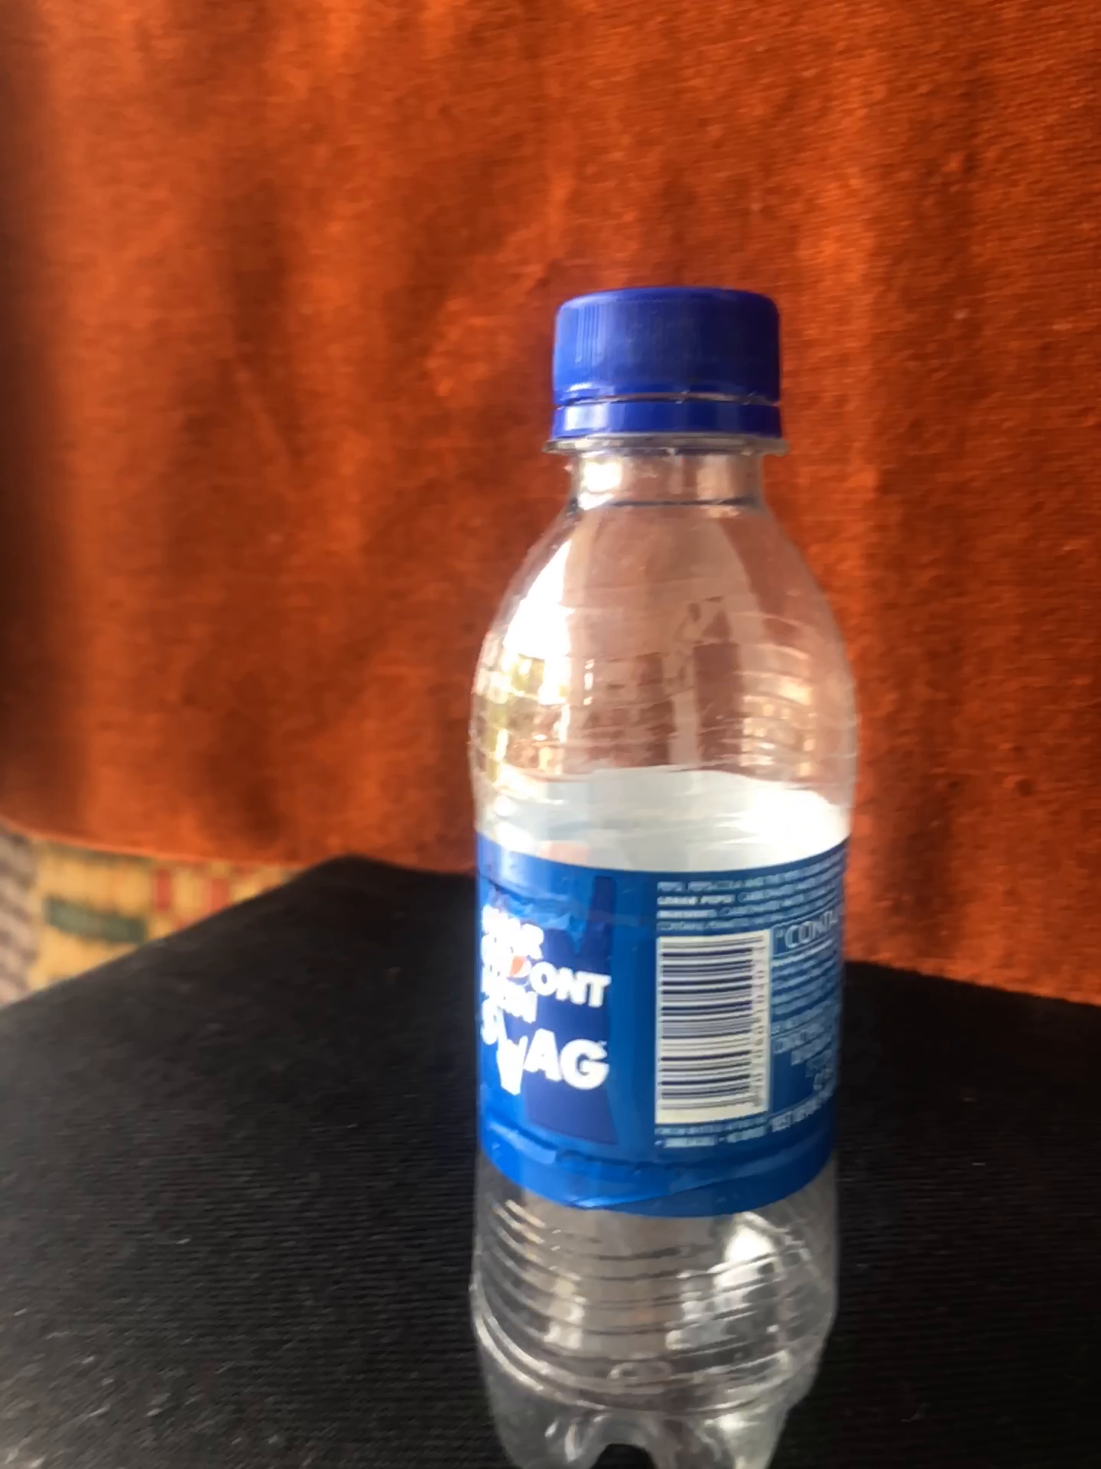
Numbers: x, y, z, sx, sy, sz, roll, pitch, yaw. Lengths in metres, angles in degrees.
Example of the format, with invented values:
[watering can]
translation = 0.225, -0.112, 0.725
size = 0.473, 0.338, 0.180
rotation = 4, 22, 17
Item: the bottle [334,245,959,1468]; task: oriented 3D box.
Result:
[bottle]
translation = 0.010, 0.027, 0.173
size = 0.050, 0.169, 0.060
rotation = -10, 17, -34
